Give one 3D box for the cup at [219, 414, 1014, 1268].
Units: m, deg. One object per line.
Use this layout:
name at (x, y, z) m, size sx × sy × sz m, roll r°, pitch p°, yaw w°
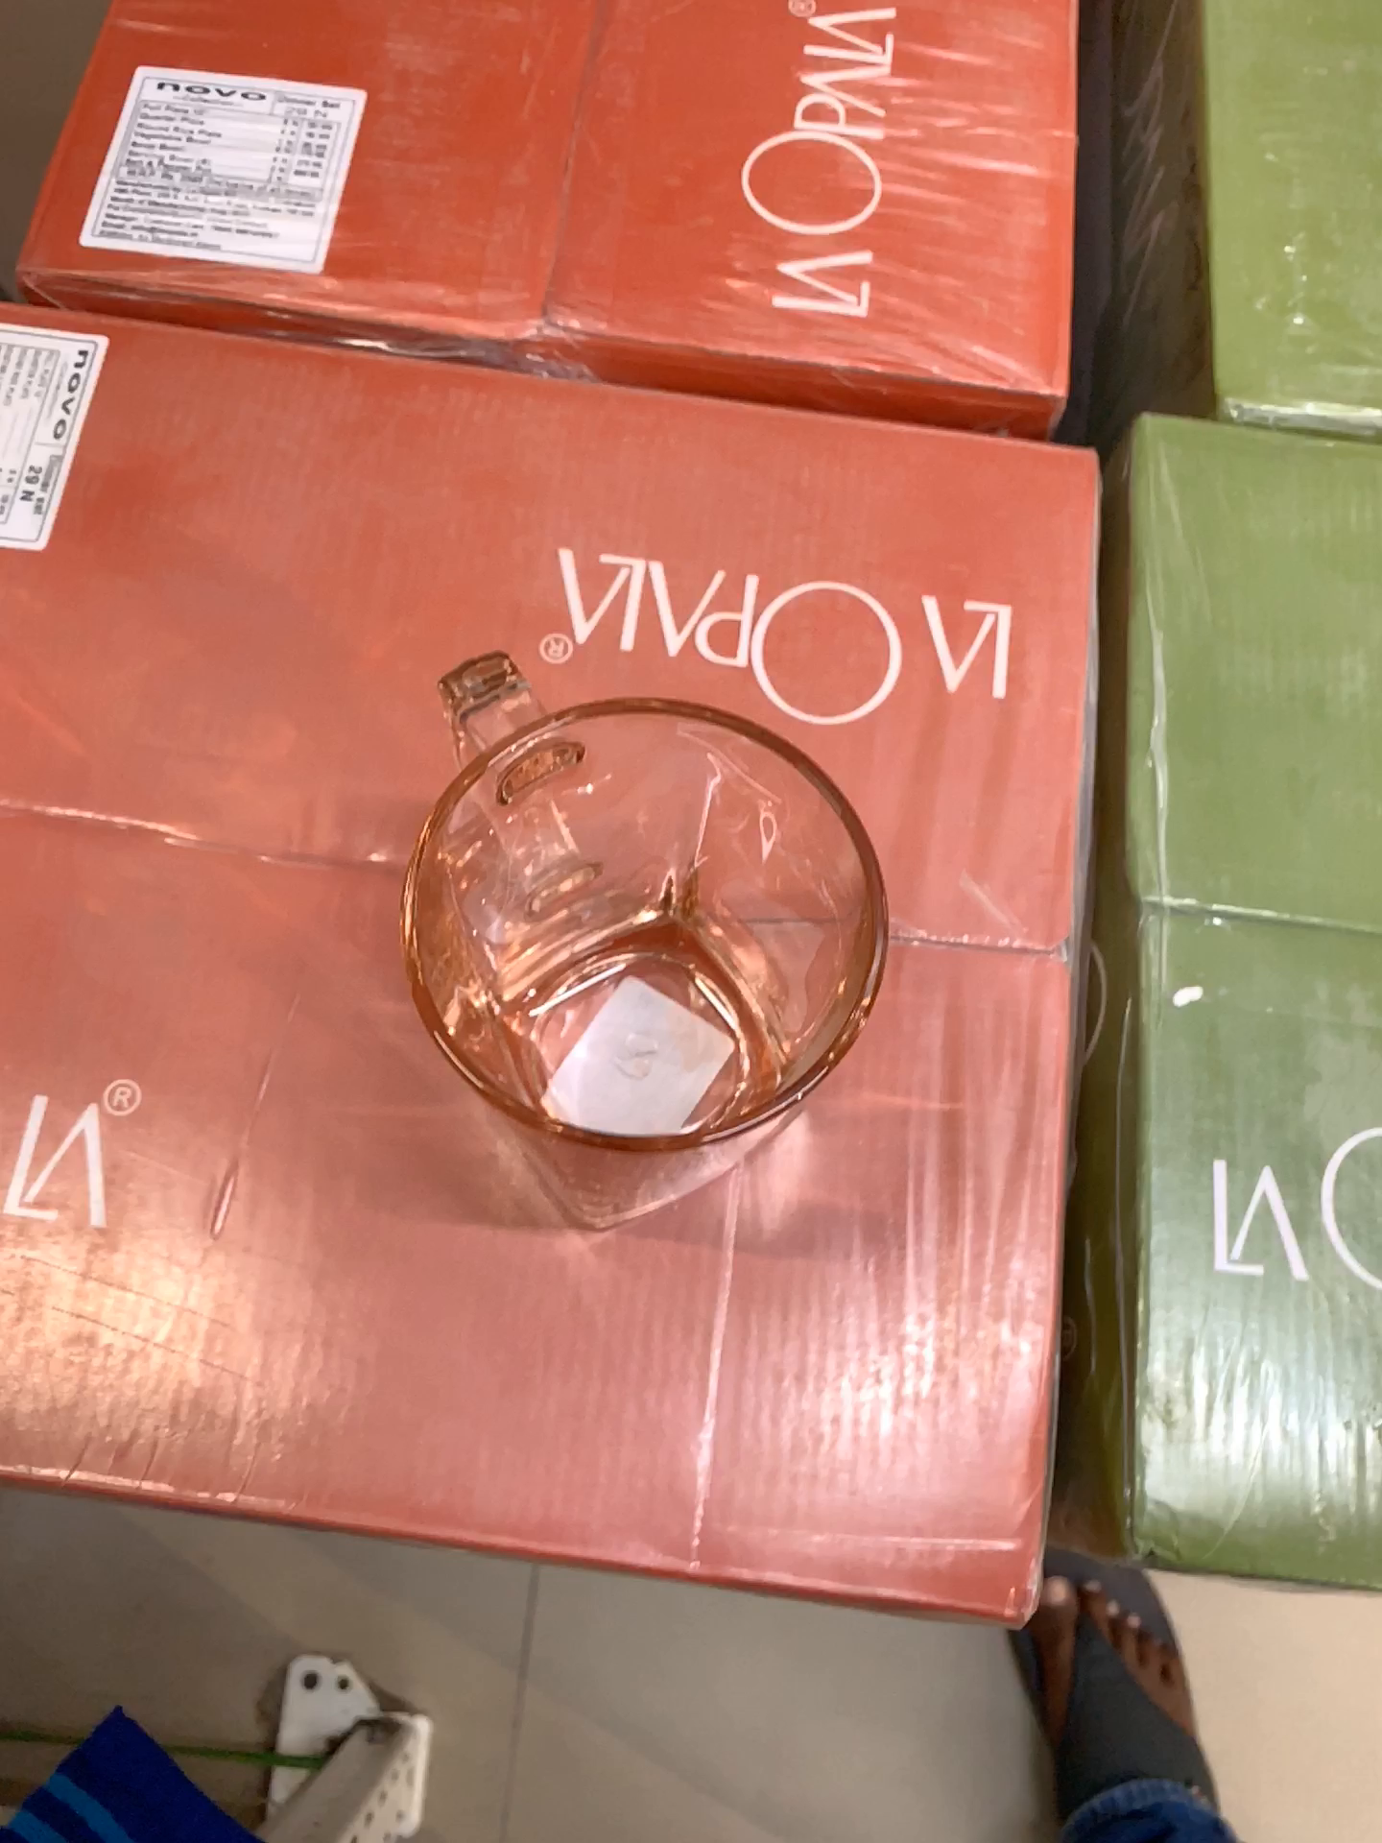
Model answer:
cup at (-0.015, -0.006, 0.268) m, size 0.080 × 0.110 × 0.100 m, roll -30°, pitch 74°, yaw -12°
